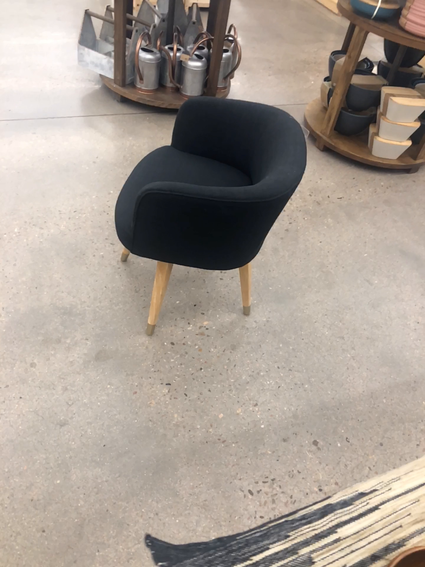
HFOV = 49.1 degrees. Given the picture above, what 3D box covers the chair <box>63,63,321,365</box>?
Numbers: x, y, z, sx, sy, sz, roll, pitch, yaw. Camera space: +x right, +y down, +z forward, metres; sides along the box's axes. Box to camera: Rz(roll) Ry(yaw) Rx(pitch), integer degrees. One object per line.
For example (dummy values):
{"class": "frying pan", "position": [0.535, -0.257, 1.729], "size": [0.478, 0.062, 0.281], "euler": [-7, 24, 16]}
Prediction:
{"class": "chair", "position": [-0.059, -0.241, 1.604], "size": [0.603, 0.670, 0.604], "euler": [18, 45, 6]}
